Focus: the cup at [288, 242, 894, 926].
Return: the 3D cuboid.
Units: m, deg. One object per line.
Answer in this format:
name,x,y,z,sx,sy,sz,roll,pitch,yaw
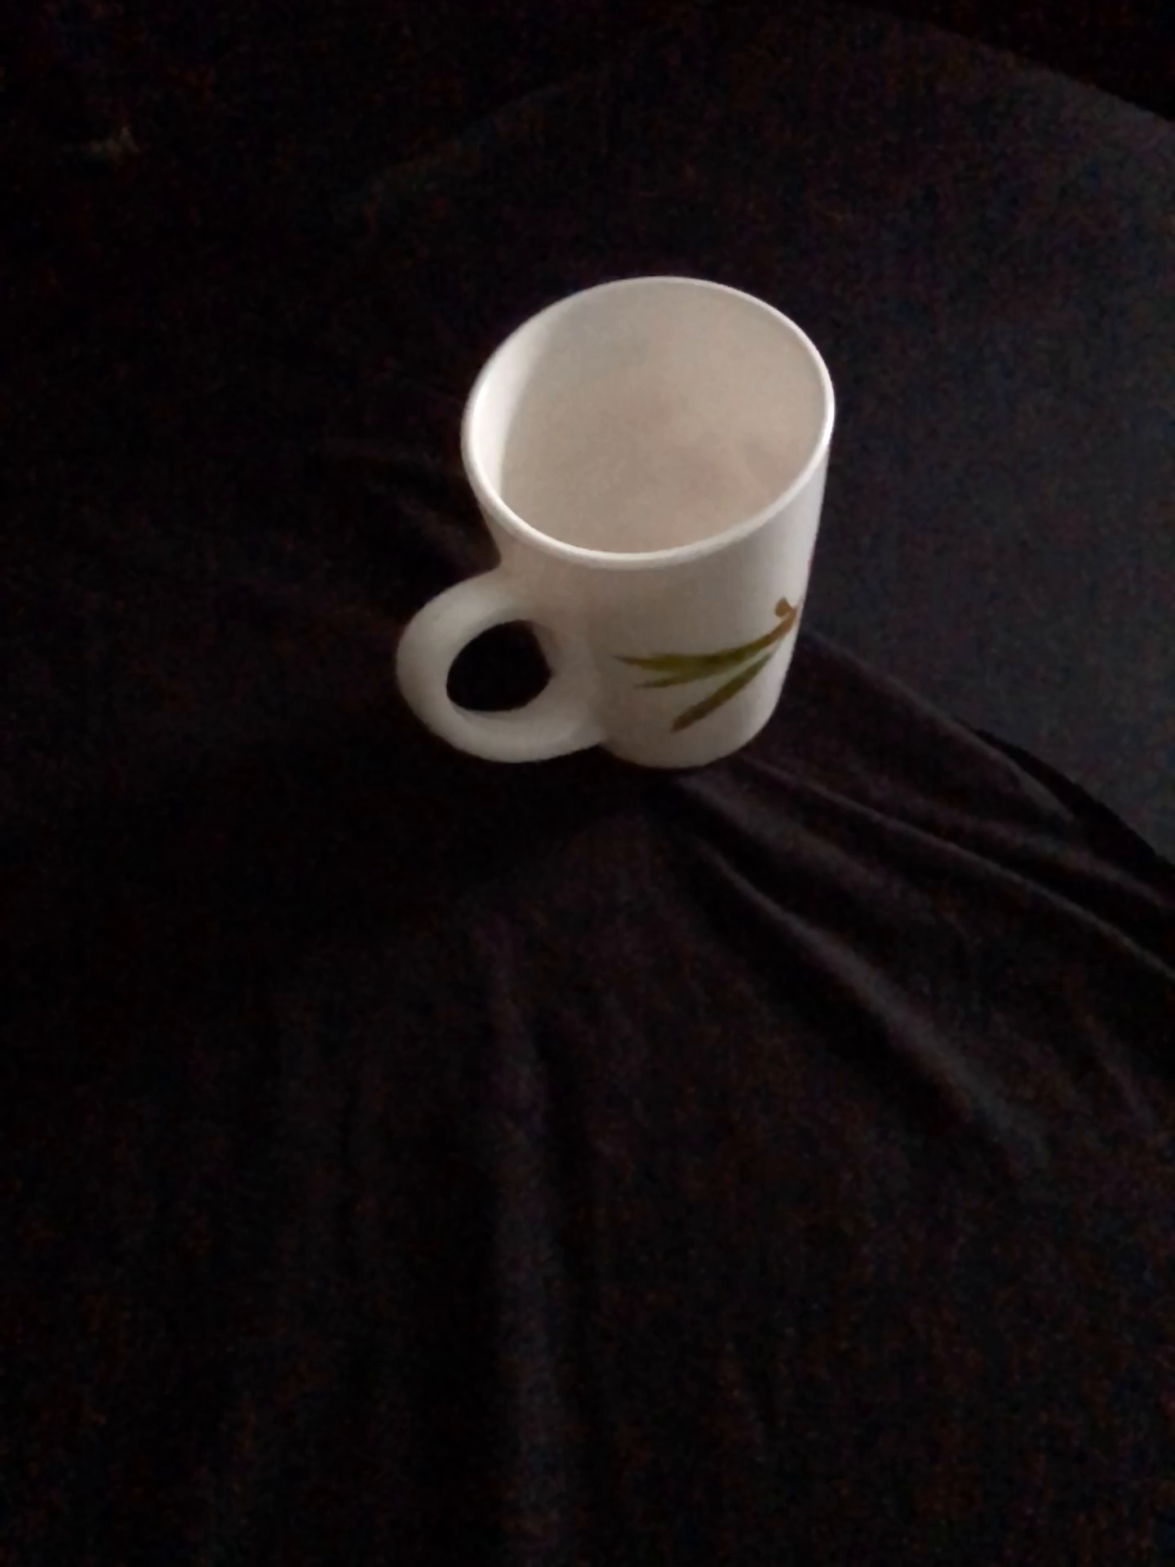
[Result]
cup,0.003,-0.054,0.384,0.125,0.130,0.090,-40,68,-19
